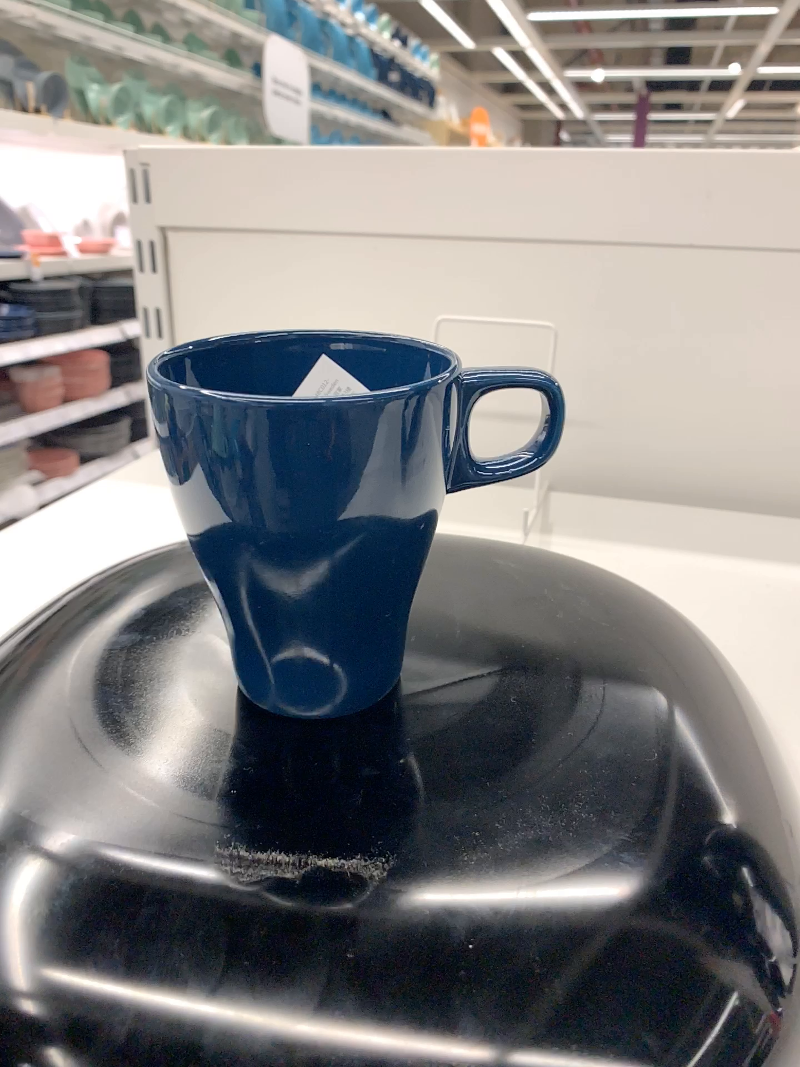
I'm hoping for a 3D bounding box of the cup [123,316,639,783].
[{"bbox_3d":[-0.013,-0.007,0.246,0.120,0.100,0.090,-6,22,-19],"label":"cup"}]
